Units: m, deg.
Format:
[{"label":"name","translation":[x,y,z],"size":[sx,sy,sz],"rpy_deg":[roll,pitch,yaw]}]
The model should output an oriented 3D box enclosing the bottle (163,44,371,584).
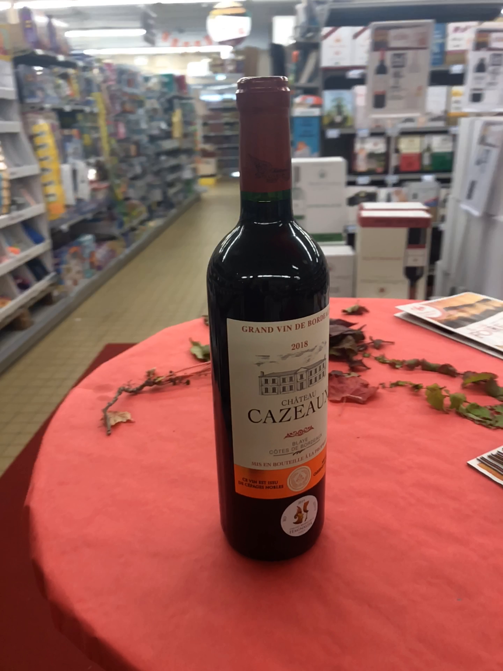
[{"label":"bottle","translation":[0.009,-0.006,0.343],"size":[0.080,0.299,0.080],"rpy_deg":[-1,20,0]}]
